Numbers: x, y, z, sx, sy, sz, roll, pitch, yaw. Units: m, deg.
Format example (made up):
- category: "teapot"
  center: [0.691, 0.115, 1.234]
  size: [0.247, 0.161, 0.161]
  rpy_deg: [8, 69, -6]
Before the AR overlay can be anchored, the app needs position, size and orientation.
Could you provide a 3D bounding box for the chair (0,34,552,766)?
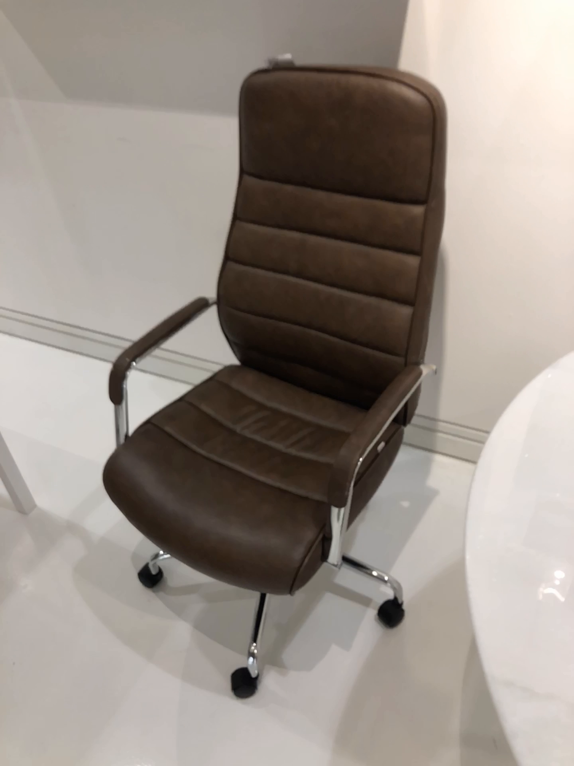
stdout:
- category: "chair"
  center: [-0.024, 0.010, 1.355]
  size: [0.702, 1.171, 0.784]
  rpy_deg: [21, 45, 29]
